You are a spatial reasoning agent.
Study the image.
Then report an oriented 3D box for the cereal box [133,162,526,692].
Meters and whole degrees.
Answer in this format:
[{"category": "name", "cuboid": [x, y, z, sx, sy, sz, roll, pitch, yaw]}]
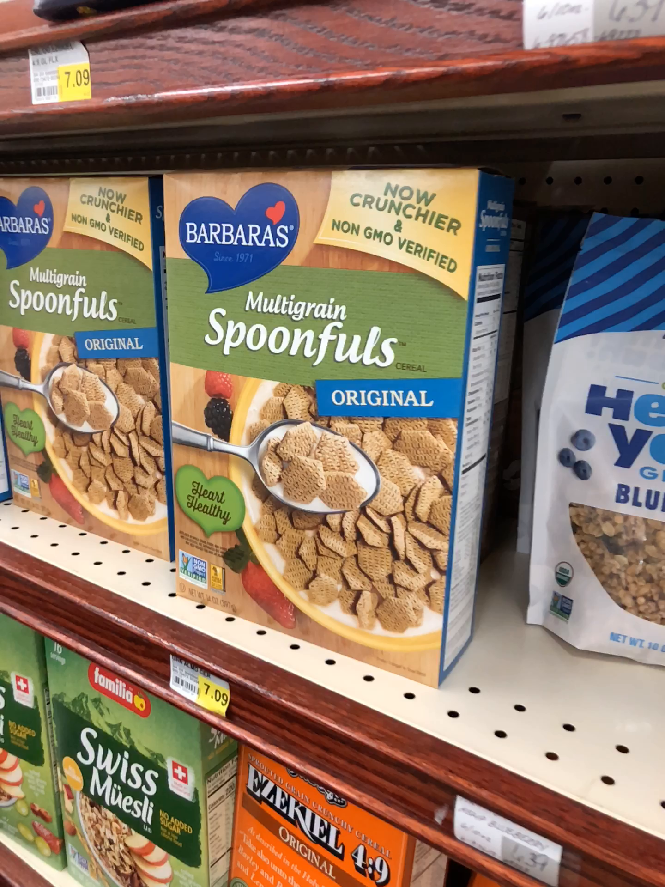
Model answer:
[{"category": "cereal box", "cuboid": [-0.012, -0.019, 0.411, 0.200, 0.249, 0.060, 11, 18, 30]}]
